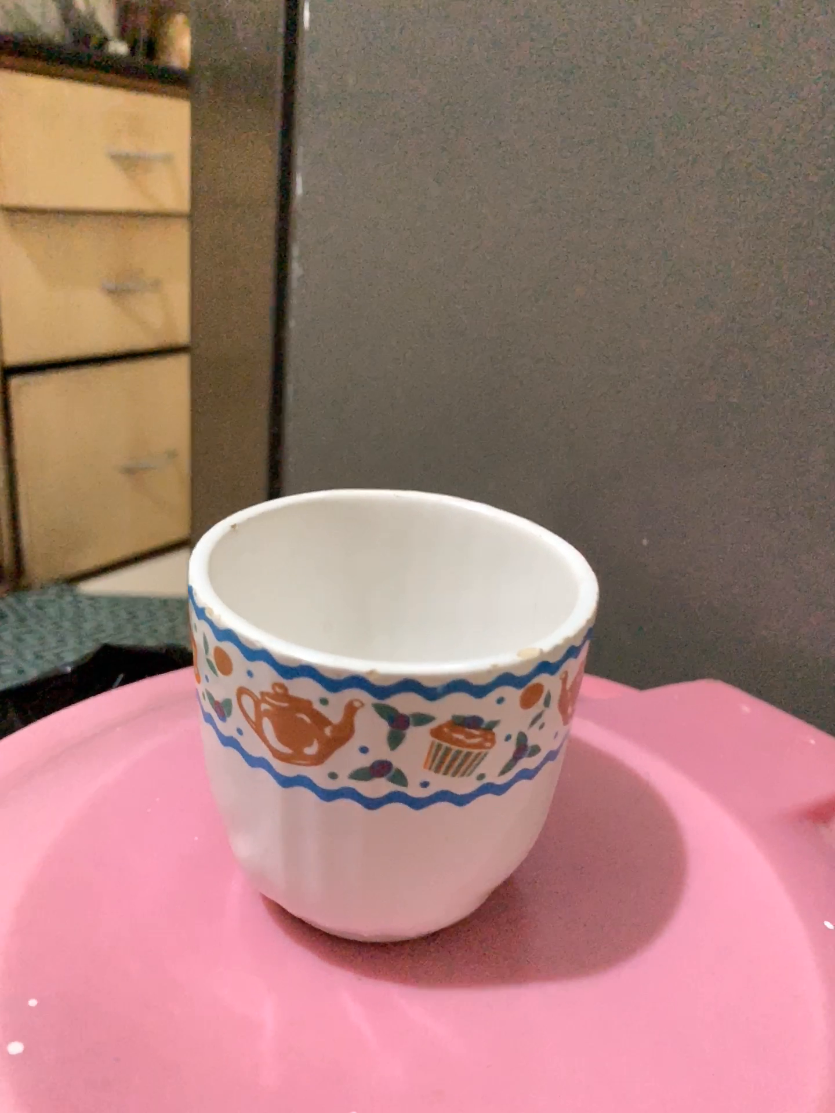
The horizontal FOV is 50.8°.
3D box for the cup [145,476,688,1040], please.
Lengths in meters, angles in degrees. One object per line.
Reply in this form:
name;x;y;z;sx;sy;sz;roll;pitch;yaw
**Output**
cup;-0.007;0.027;0.161;0.070;0.060;0.070;5;22;-2
